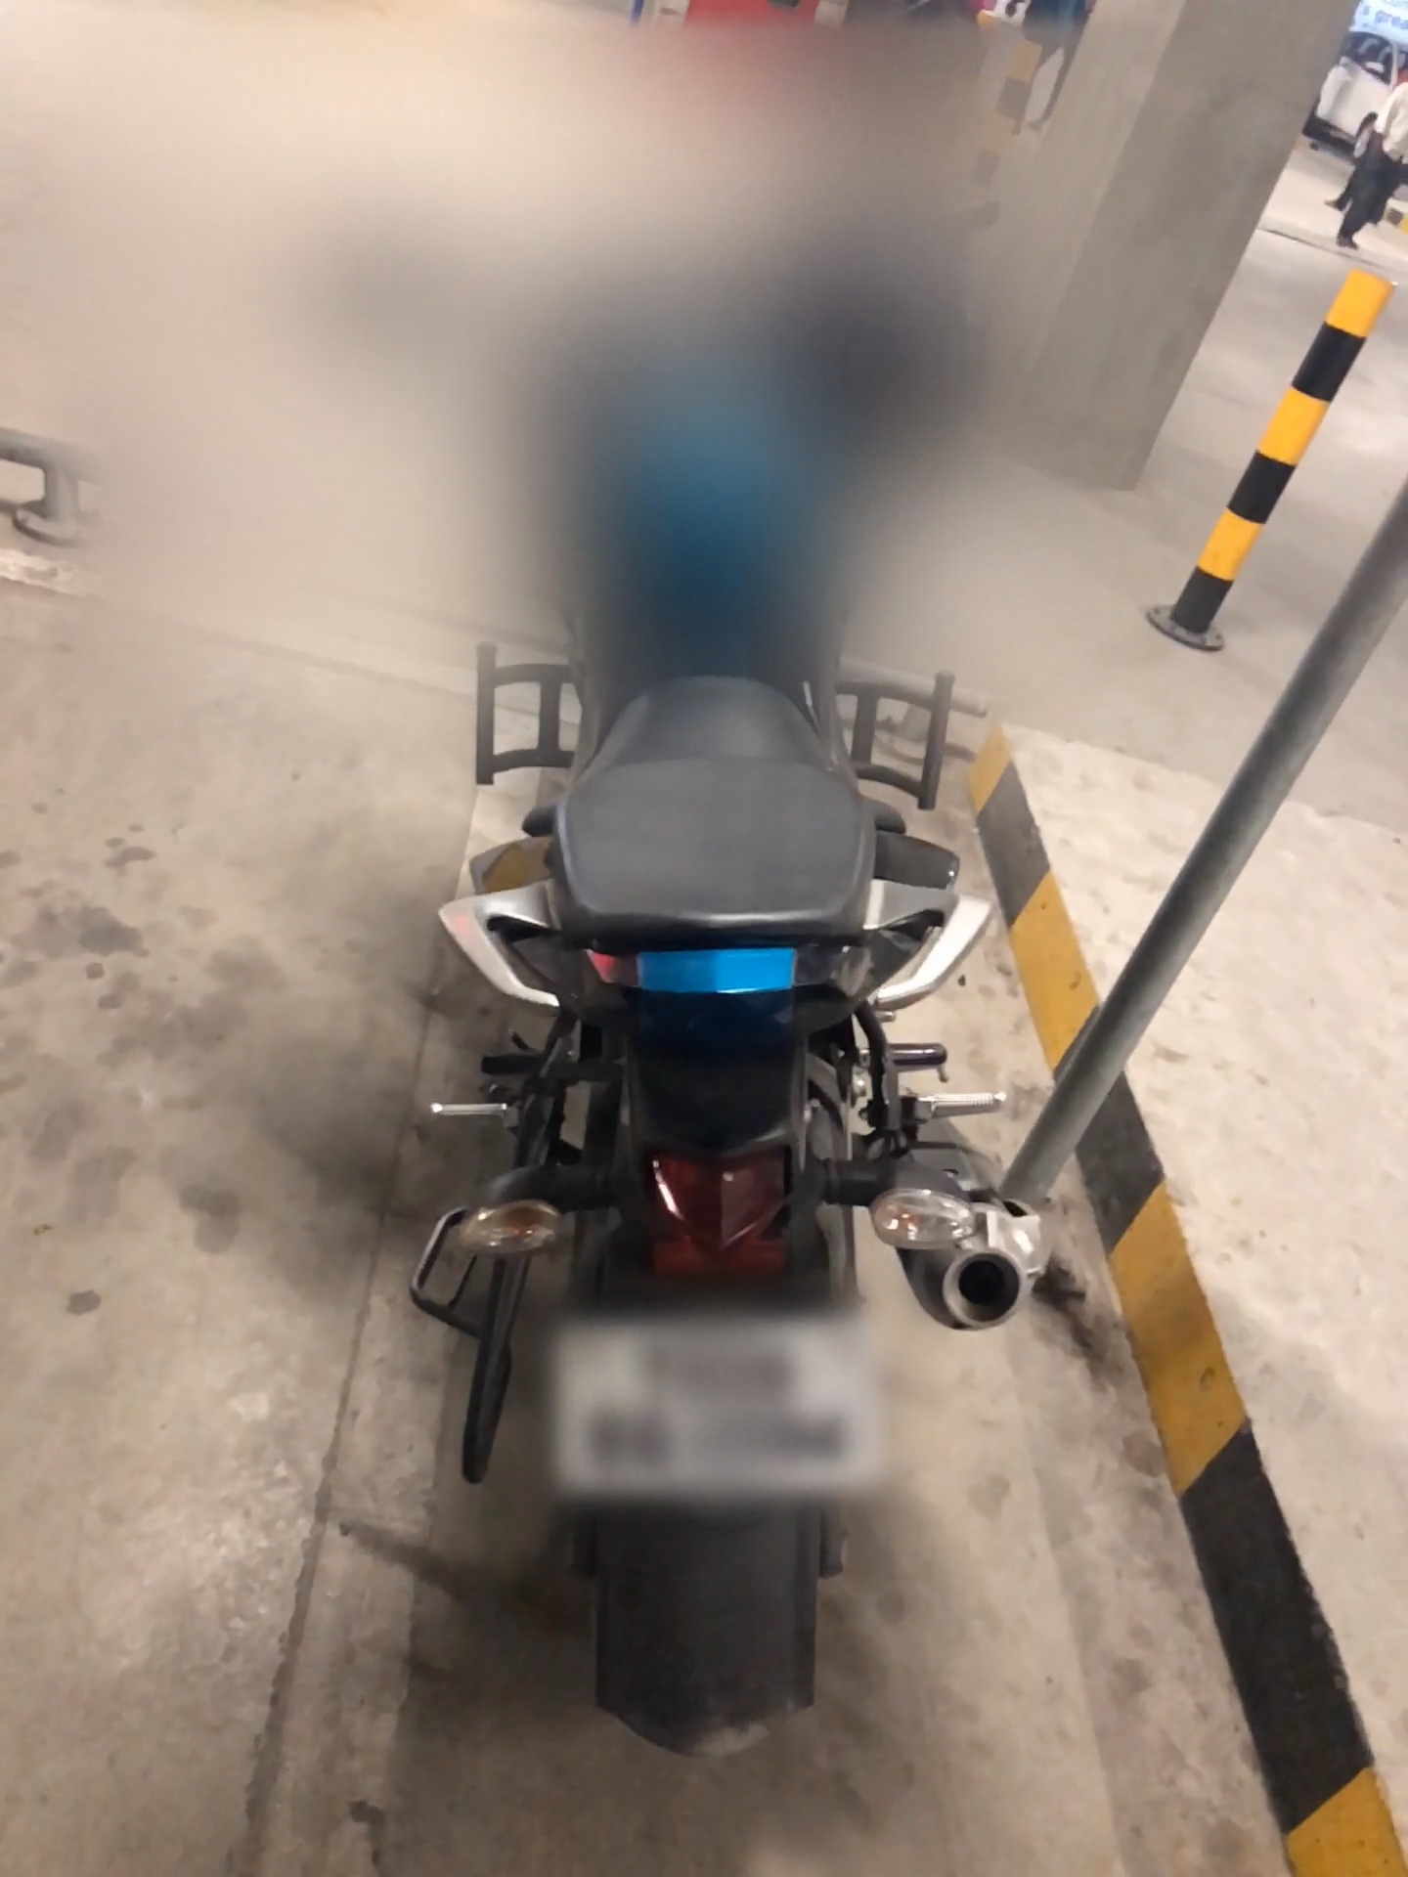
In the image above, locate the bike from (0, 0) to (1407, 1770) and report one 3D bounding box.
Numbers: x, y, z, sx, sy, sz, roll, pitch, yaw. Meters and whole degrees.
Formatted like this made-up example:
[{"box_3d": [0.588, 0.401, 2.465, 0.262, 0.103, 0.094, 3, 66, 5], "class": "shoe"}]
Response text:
[{"box_3d": [-0.130, -0.193, 1.492, 0.766, 0.951, 1.421, 10, 36, -14], "class": "bike"}]
